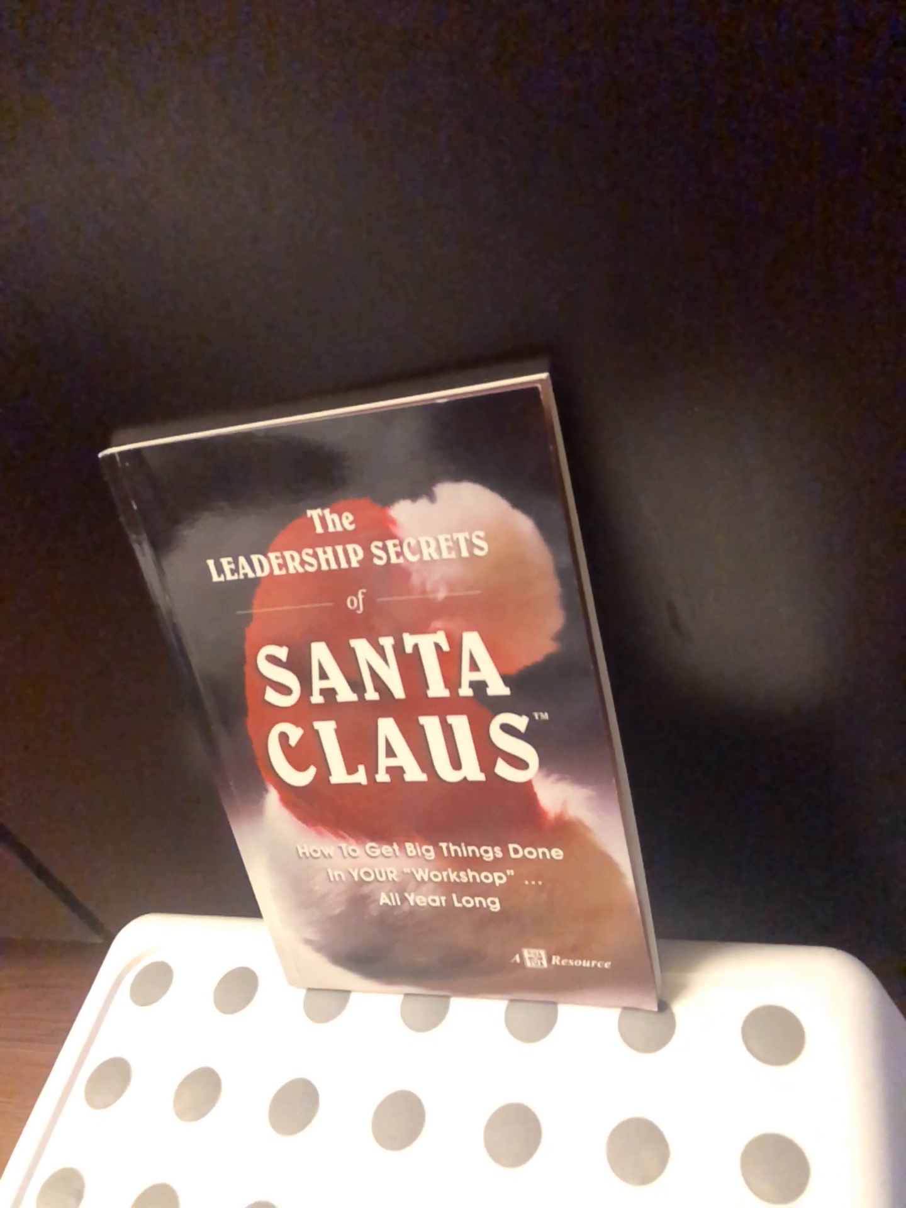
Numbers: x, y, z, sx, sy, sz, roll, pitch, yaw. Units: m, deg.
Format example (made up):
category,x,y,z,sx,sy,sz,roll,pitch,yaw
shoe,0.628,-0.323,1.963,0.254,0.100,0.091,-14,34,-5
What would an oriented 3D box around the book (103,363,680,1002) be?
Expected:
category,x,y,z,sx,sy,sz,roll,pitch,yaw
book,-0.017,0.043,0.349,0.160,0.225,0.010,-5,21,20
